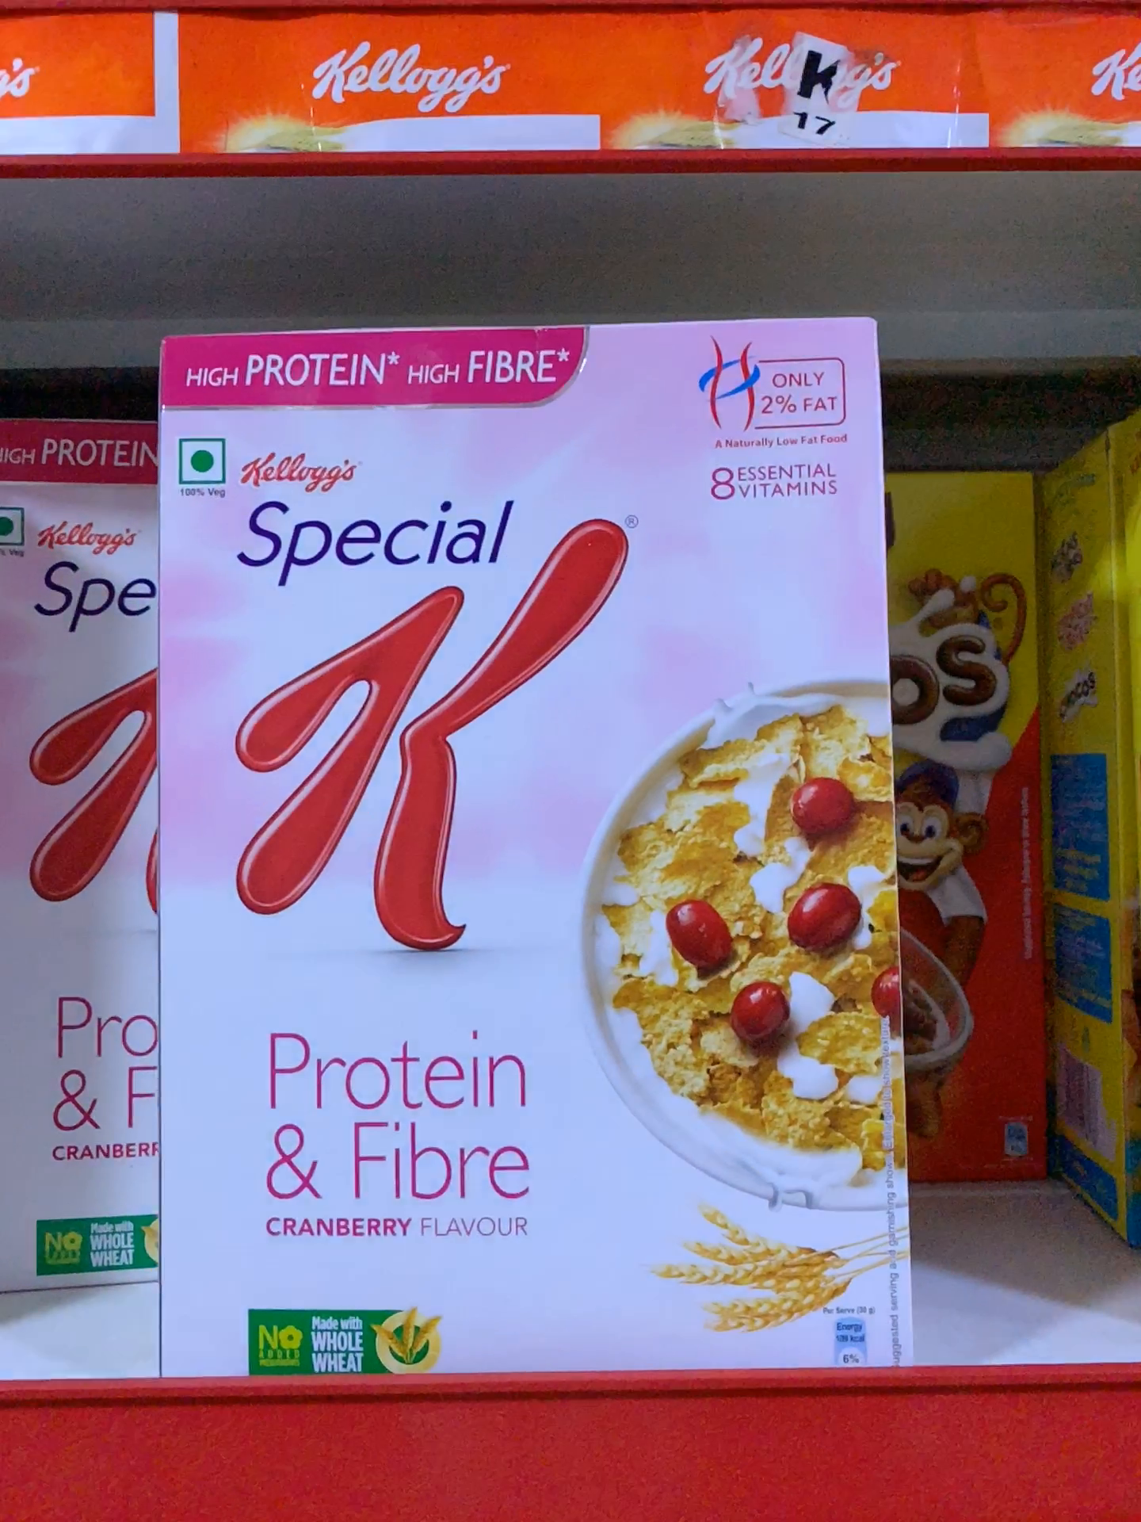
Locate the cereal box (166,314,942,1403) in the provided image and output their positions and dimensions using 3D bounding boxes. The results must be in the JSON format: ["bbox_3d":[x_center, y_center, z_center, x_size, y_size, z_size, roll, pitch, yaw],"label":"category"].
[{"bbox_3d":[-0.005,0.021,0.295,0.170,0.240,0.060,-1,-2,1],"label":"cereal box"}]
